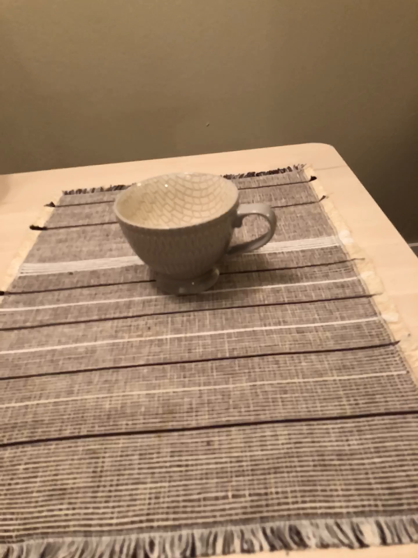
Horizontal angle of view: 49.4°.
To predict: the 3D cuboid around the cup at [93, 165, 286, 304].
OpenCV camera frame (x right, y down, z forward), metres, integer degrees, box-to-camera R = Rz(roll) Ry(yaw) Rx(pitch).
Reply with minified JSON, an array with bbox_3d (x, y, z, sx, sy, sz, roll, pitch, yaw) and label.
[{"bbox_3d":[-0.007,-0.045,0.423,0.150,0.080,0.111,1,35,12],"label":"cup"}]
